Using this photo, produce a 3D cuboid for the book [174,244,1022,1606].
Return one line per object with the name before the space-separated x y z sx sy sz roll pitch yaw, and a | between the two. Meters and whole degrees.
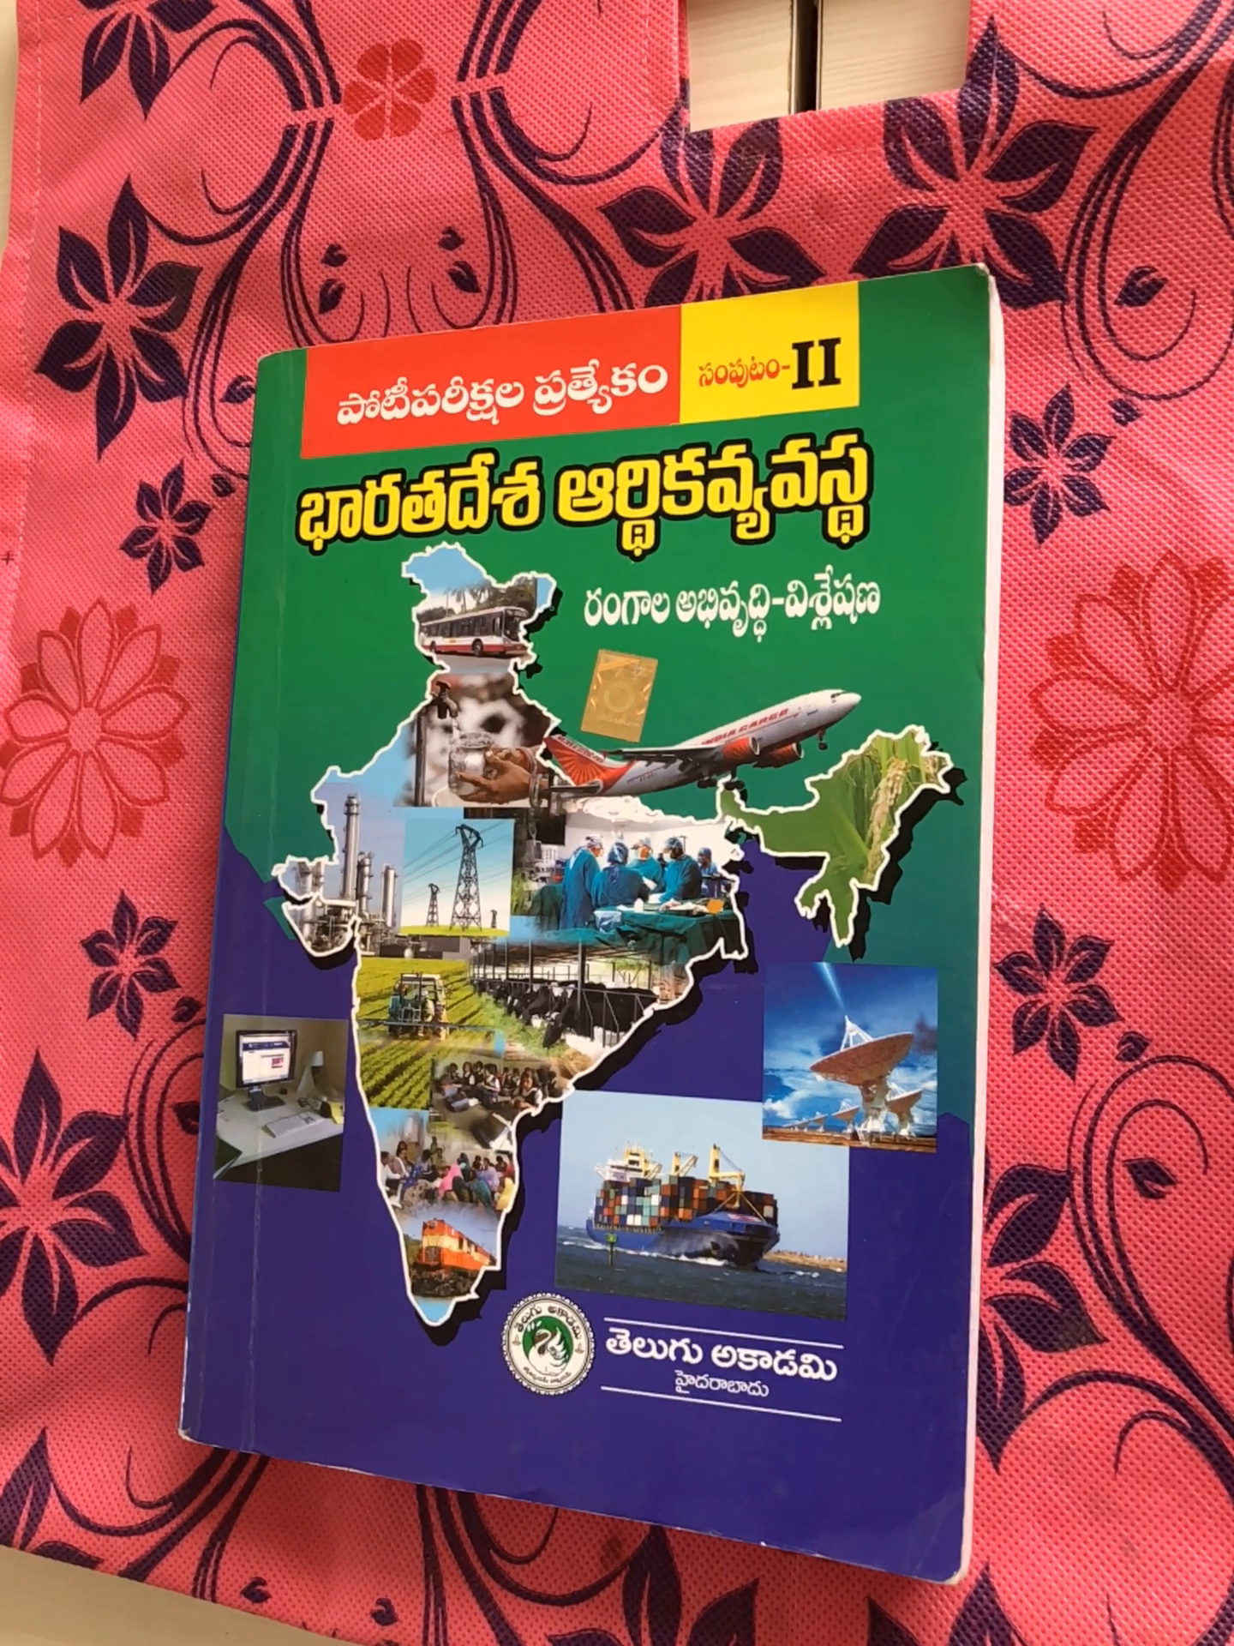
book | -0.004 0.015 0.330 0.190 0.040 0.280 1 85 18
